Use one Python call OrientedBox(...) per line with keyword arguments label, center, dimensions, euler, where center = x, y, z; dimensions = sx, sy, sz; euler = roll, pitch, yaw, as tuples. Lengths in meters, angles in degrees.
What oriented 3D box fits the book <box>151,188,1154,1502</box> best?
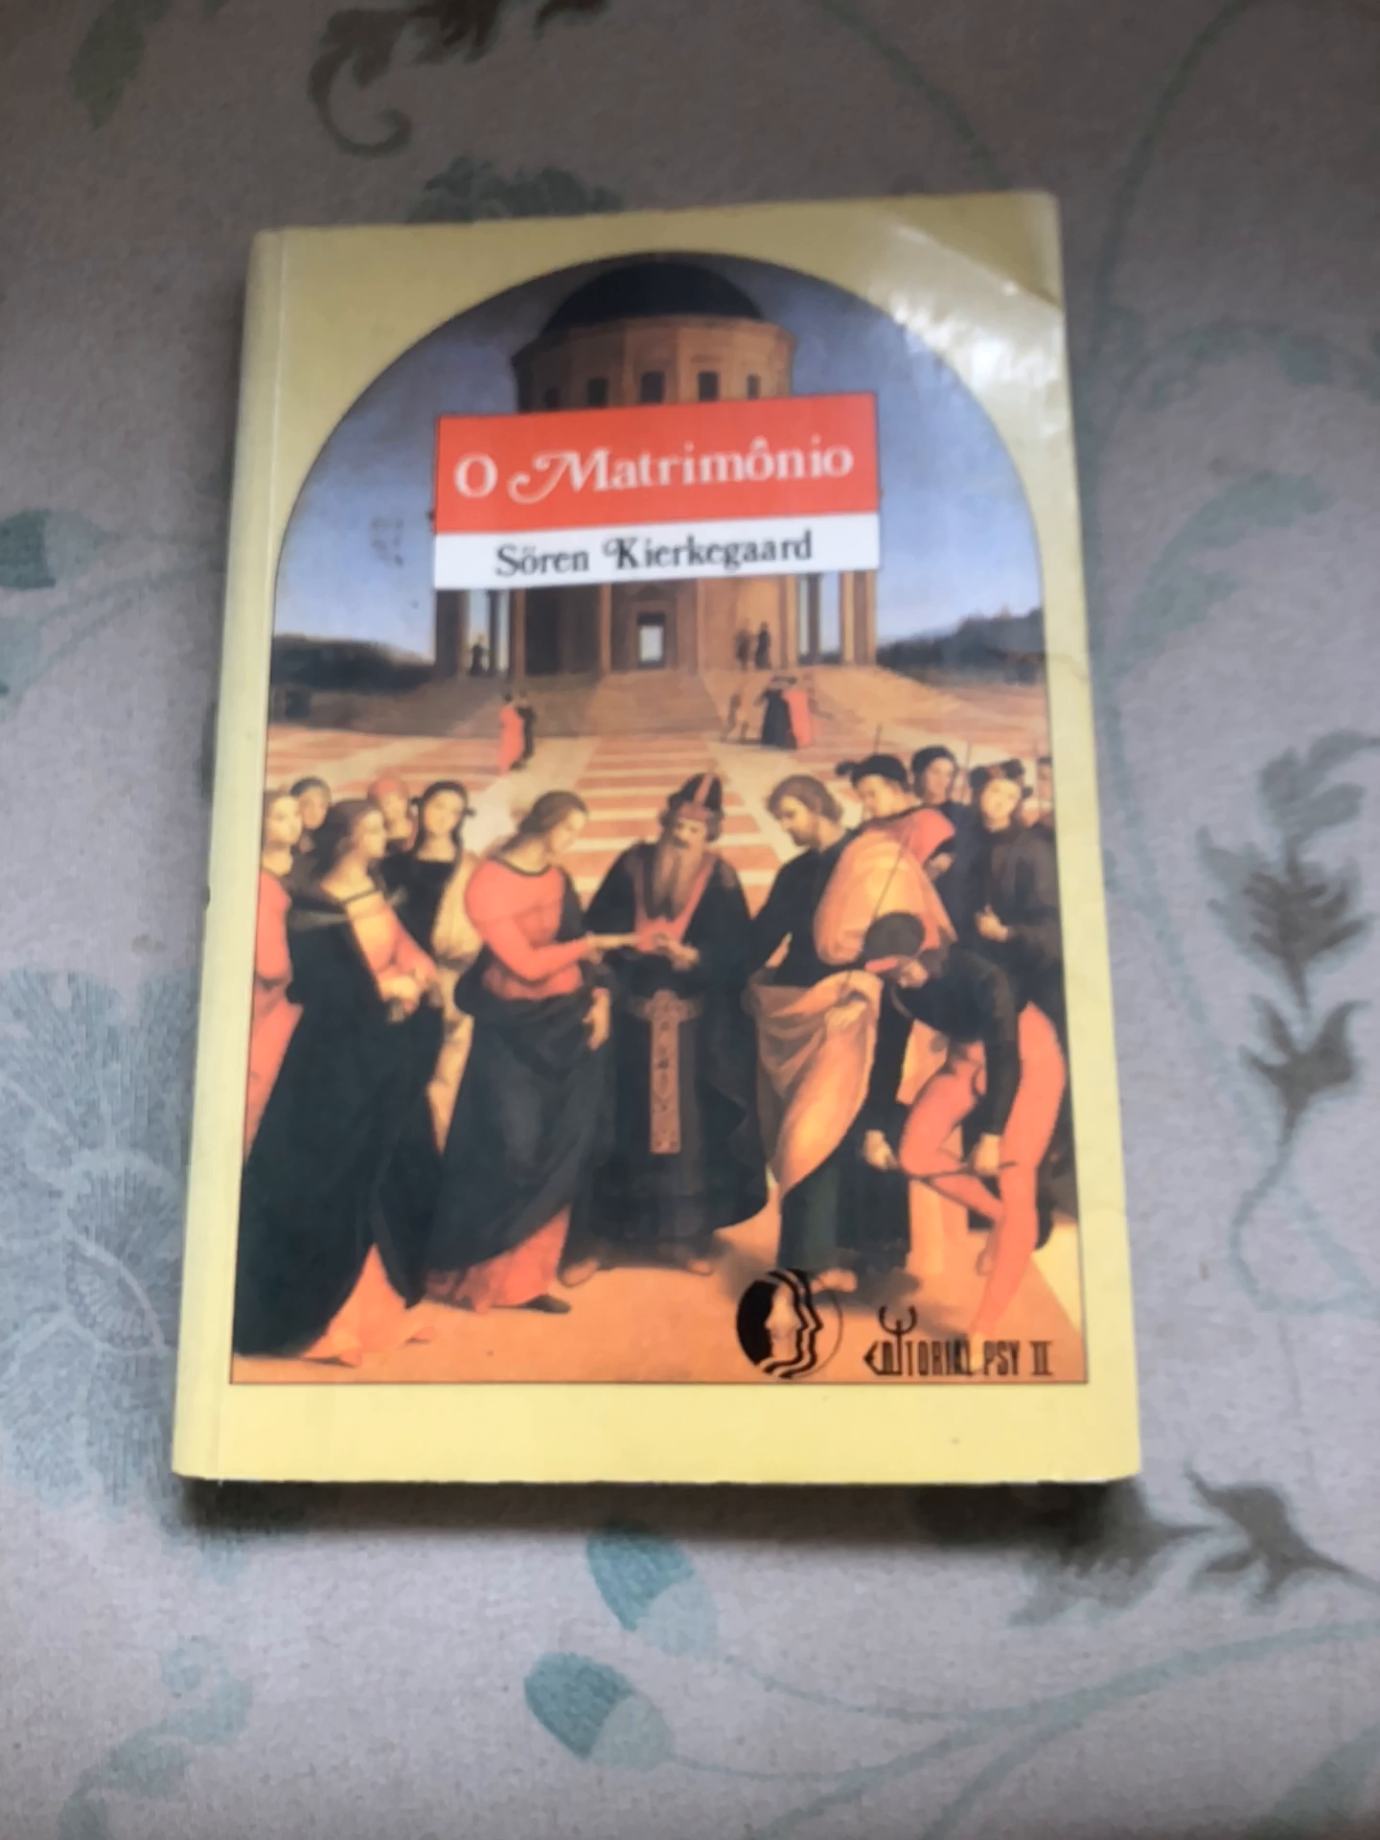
OrientedBox(label="book", center=(-0.005, -0.017, 0.245), dimensions=(0.140, 0.020, 0.200), euler=(0, 79, 4))
